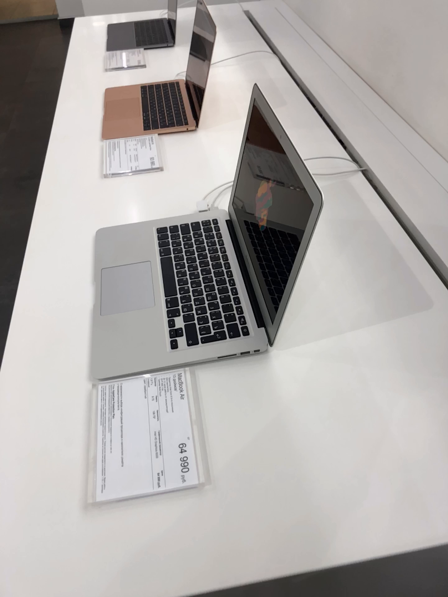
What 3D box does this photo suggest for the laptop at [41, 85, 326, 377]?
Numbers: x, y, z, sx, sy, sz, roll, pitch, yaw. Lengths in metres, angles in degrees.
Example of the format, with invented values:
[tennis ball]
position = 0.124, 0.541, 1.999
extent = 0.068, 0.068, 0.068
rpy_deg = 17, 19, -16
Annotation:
[laptop]
position = -0.056, -0.105, 0.647
extent = 0.270, 0.207, 0.317
rpy_deg = -9, 43, -4
